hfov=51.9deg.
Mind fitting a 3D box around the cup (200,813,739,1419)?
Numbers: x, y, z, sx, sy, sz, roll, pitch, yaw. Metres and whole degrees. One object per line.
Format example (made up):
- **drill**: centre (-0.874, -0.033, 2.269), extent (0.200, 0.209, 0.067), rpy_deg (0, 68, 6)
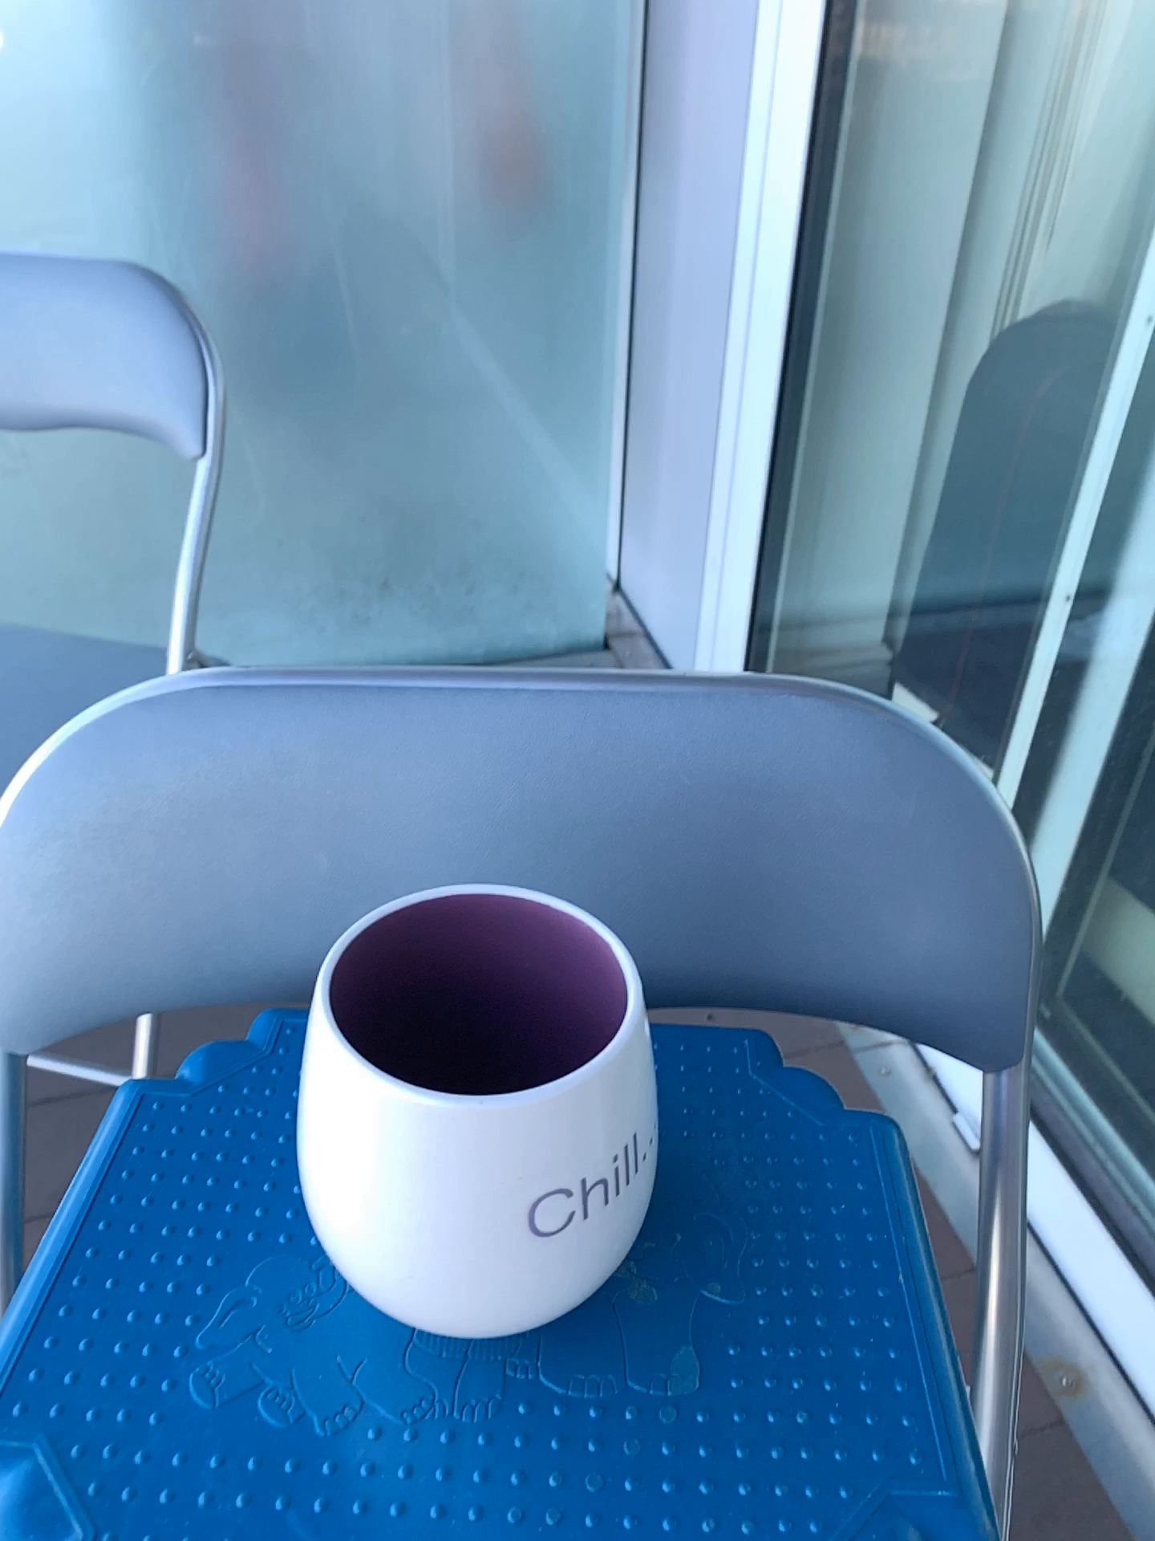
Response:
- **cup**: centre (-0.028, 0.093, 0.354), extent (0.105, 0.090, 0.111), rpy_deg (3, 32, -2)
